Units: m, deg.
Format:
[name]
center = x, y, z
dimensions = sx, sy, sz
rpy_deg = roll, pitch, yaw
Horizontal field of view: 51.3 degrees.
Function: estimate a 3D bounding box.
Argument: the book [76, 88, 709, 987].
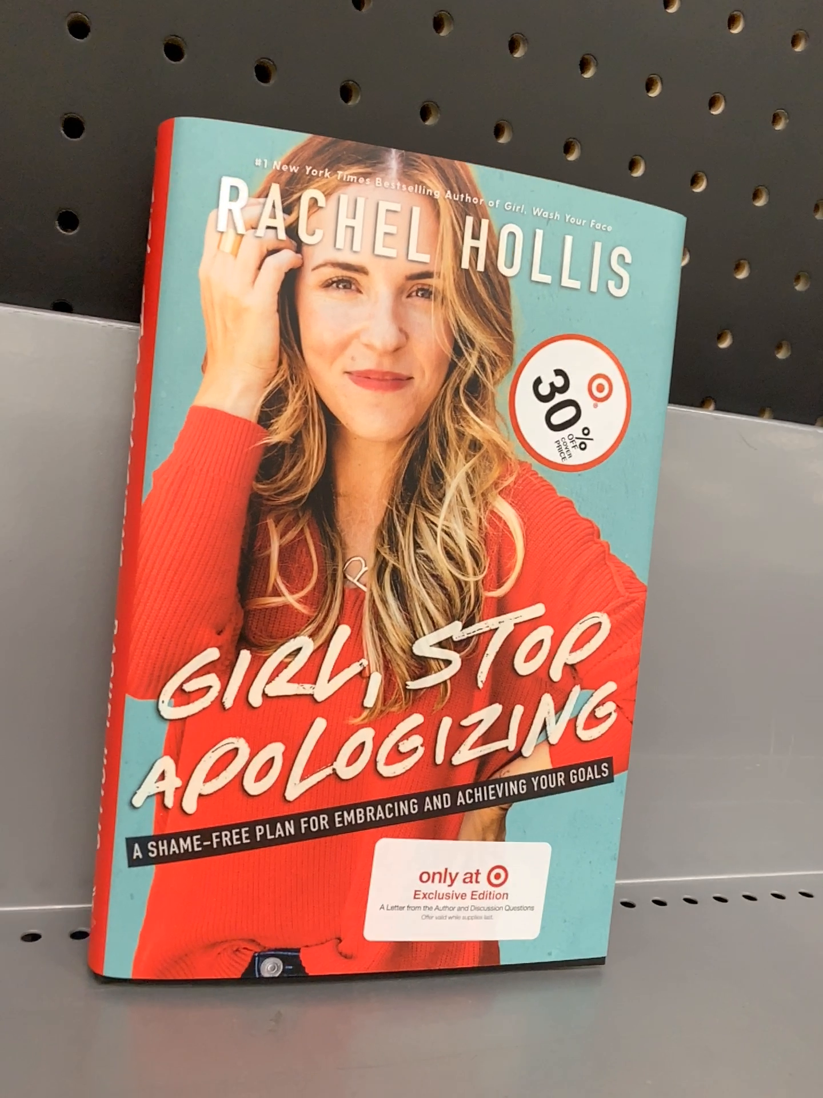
[book]
center = -0.004, 0.004, 0.244
dimensions = 0.149, 0.220, 0.035
rpy_deg = 6, 2, -14
